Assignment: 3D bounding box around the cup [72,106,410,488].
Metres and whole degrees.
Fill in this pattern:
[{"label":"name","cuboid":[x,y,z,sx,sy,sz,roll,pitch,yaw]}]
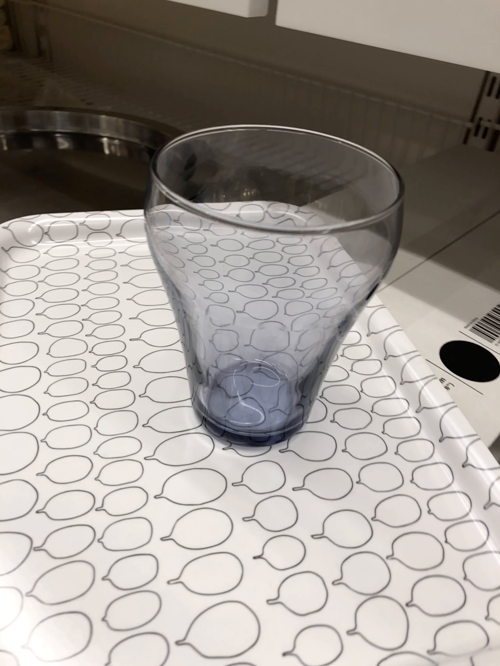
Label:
[{"label":"cup","cuboid":[0.003,-0.019,0.188,0.080,0.080,0.090,12,36,8]}]
